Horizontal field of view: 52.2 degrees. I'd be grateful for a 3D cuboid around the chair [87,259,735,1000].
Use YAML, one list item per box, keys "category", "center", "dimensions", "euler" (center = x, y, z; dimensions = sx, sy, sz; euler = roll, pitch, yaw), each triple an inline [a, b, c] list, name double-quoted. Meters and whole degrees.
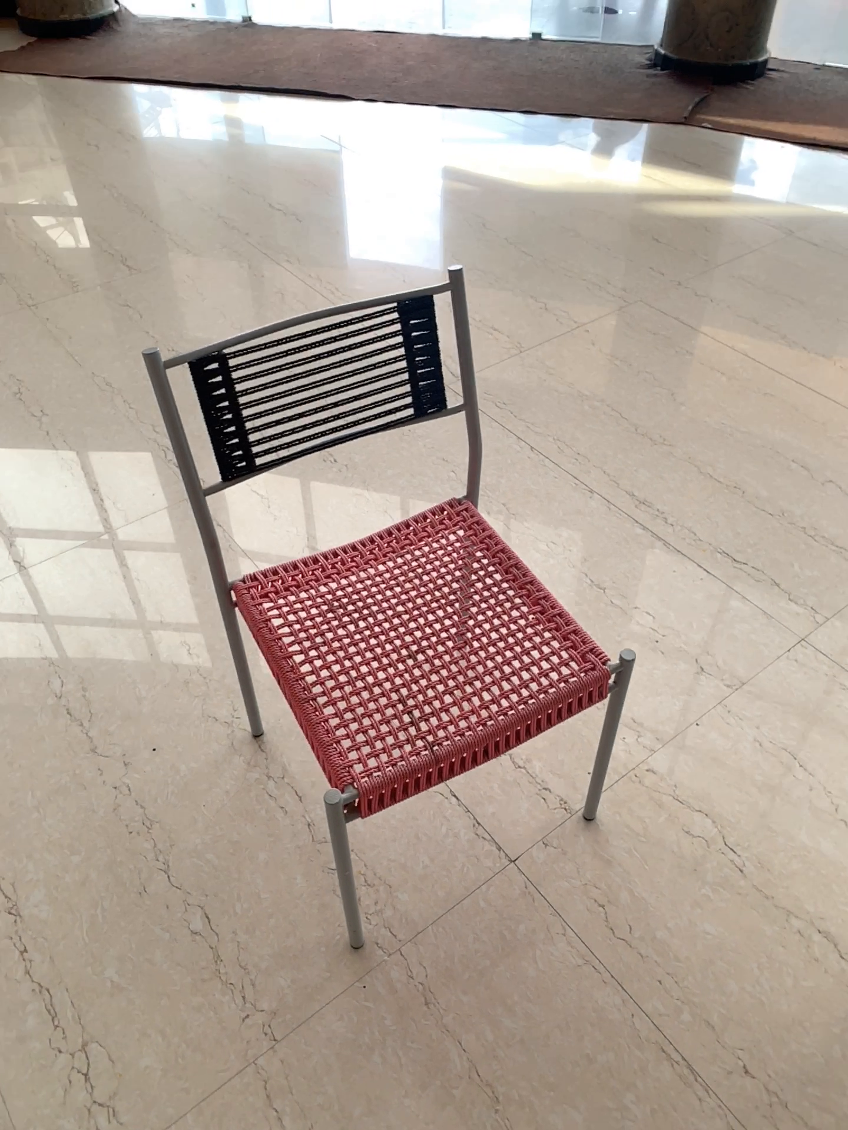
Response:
- category: "chair"
  center: [-0.044, 0.083, 1.250]
  dimensions: [0.531, 0.734, 0.584]
  euler: [-22, 48, -21]
